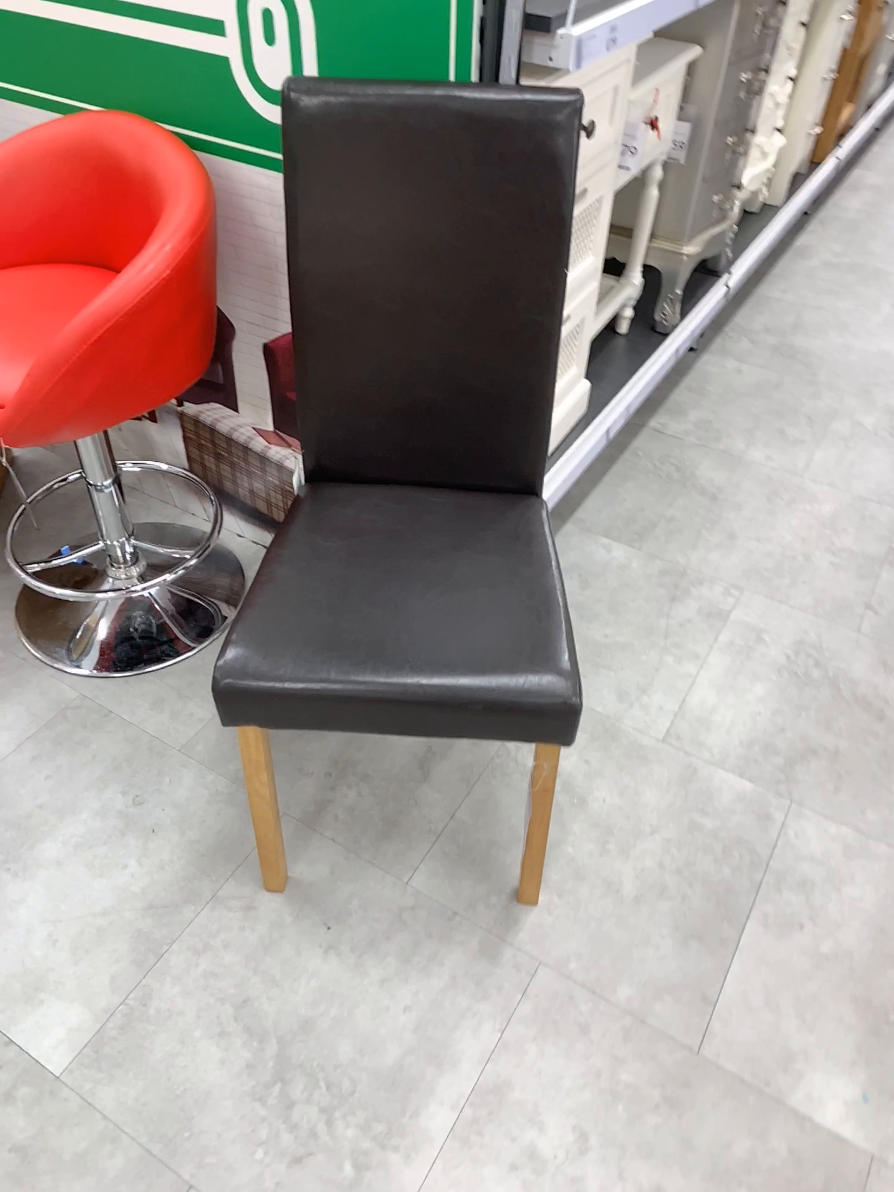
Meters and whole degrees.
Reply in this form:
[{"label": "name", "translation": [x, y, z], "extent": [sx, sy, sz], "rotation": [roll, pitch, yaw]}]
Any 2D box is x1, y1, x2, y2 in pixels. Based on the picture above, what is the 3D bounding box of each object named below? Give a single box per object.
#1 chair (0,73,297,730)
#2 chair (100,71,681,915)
[{"label": "chair", "translation": [-0.577, -0.287, 1.394], "extent": [0.458, 0.774, 0.428], "rotation": [-33, 53, -32]}, {"label": "chair", "translation": [-0.040, -0.086, 1.178], "extent": [0.425, 0.912, 0.561], "rotation": [3, 43, 1]}]
